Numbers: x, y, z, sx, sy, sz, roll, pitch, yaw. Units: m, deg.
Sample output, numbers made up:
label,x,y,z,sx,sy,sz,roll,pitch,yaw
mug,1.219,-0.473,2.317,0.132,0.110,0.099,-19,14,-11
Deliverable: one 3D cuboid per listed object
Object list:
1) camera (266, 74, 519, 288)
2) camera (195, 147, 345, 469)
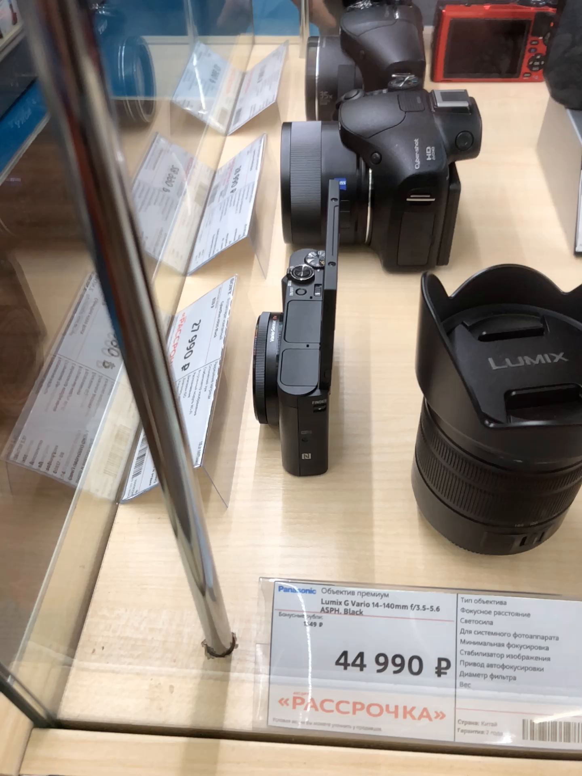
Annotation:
label,x,y,z,sx,sy,sz,roll,pitch,yaw
camera,0.061,-0.139,0.423,0.136,0.078,0.133,2,47,5
camera,-0.003,-0.036,0.296,0.050,0.107,0.101,2,47,5
